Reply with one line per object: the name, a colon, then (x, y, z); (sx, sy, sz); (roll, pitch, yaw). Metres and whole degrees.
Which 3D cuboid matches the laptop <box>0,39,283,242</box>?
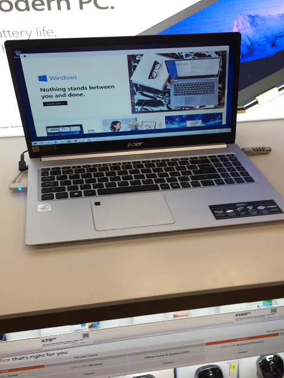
laptop: (0.010, -0.097, 0.594); (0.402, 0.201, 0.290); (-5, 40, -9)
